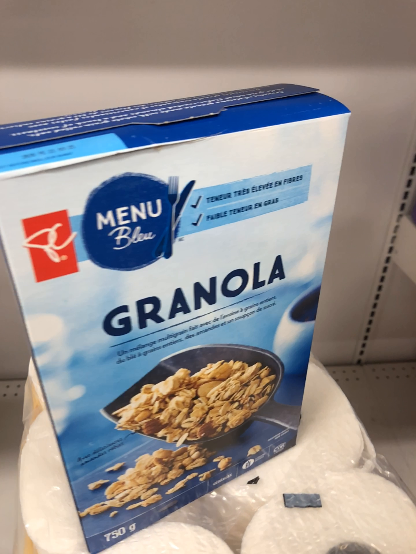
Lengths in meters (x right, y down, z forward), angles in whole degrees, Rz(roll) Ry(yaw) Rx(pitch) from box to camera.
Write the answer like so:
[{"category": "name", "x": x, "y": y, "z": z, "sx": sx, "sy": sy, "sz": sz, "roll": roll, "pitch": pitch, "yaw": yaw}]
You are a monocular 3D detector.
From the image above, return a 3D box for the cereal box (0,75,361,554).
[{"category": "cereal box", "x": -0.018, "y": 0.031, "z": 0.254, "sx": 0.160, "sy": 0.239, "sz": 0.060, "roll": -17, "pitch": 37, "yaw": -23}]
